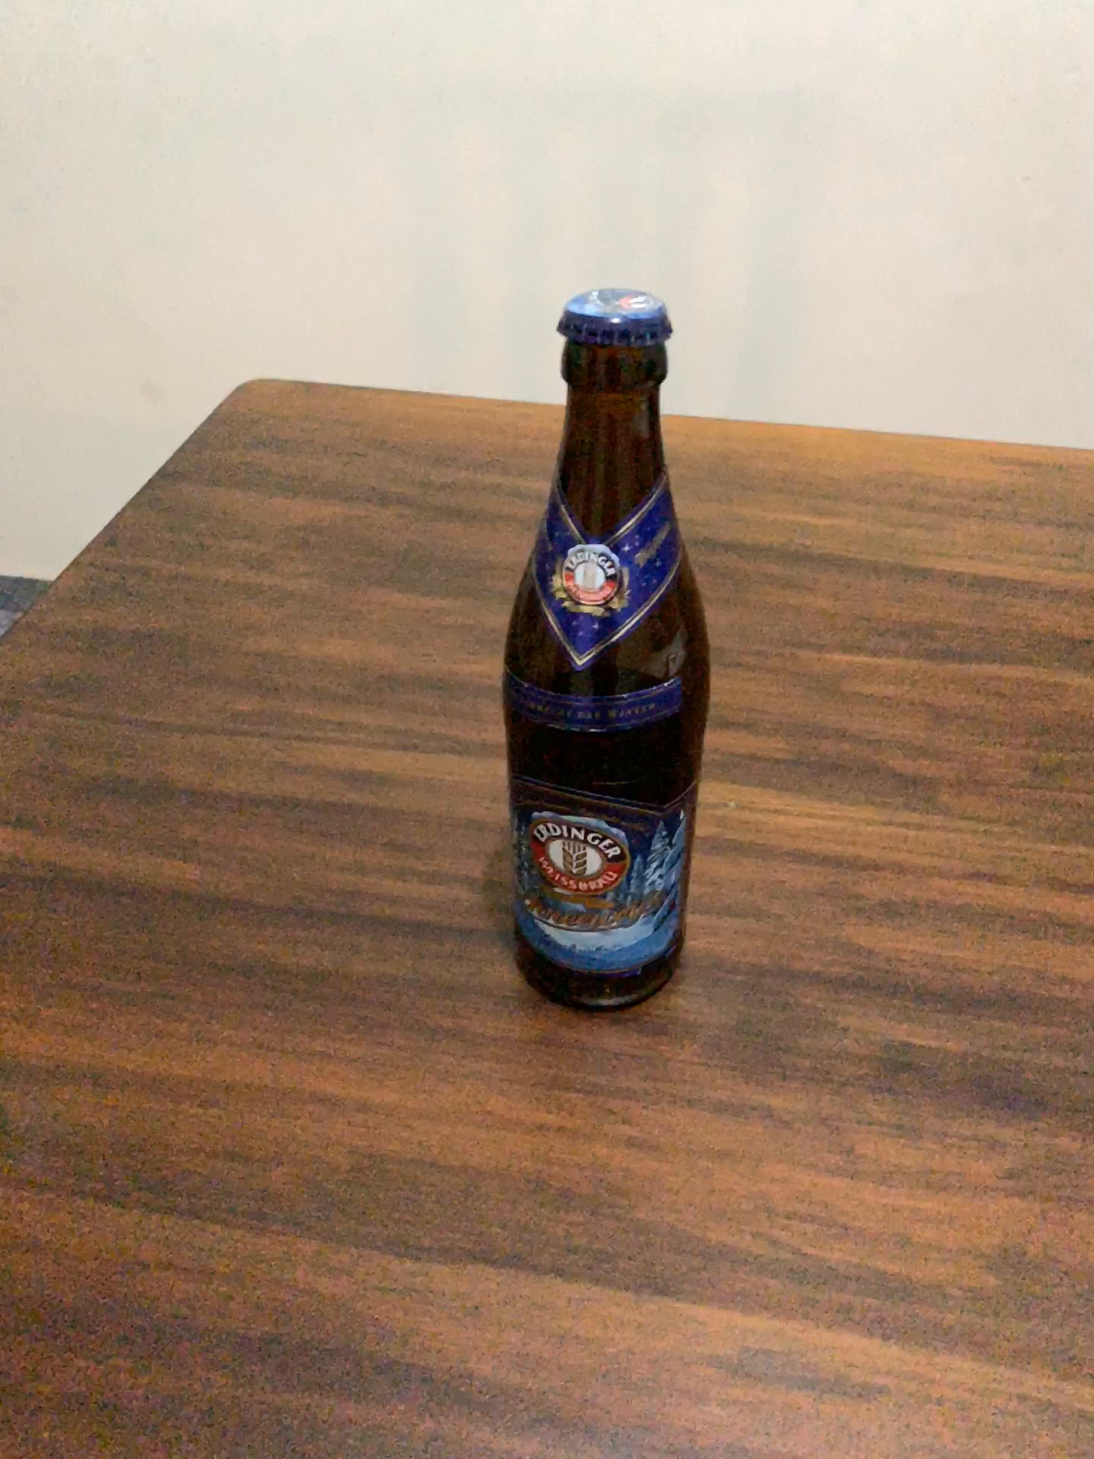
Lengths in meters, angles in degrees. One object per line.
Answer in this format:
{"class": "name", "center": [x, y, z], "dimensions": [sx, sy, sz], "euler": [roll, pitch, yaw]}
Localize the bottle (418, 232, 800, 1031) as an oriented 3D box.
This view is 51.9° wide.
{"class": "bottle", "center": [0.019, -0.012, 0.353], "dimensions": [0.080, 0.249, 0.070], "euler": [8, 43, 10]}
